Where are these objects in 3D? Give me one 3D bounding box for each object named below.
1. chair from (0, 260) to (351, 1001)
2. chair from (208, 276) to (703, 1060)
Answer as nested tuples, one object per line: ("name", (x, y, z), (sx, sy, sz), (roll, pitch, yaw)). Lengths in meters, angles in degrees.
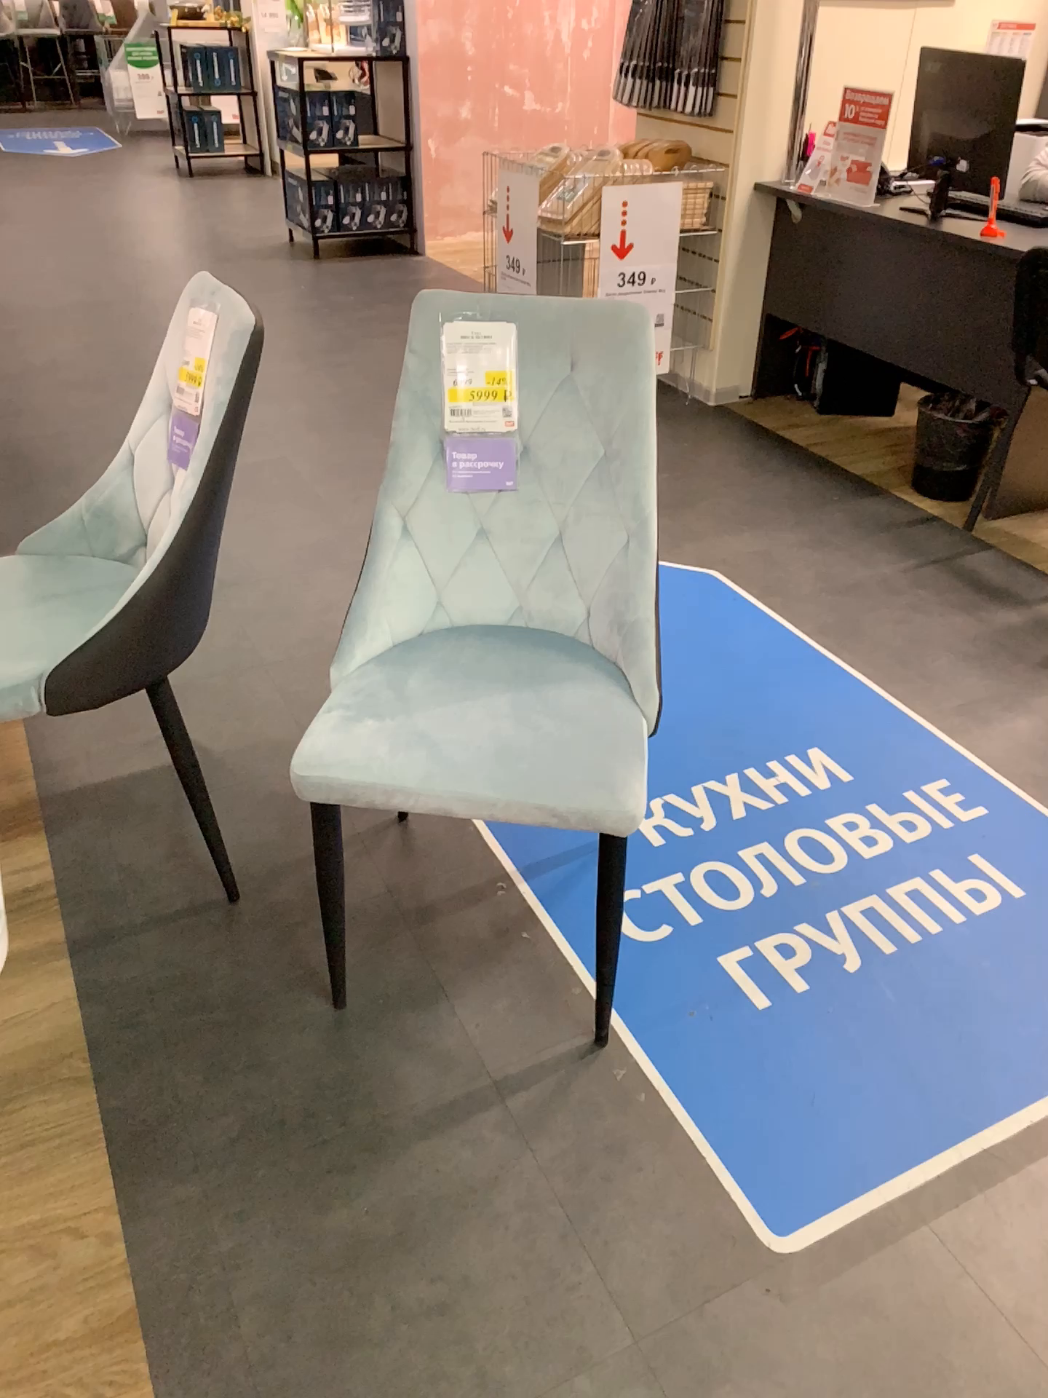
("chair", (-0.711, -0.143, 1.681), (0.666, 0.880, 0.571), (-14, 36, -23))
("chair", (-0.042, -0.050, 1.486), (0.470, 0.885, 0.553), (6, 33, 7))
